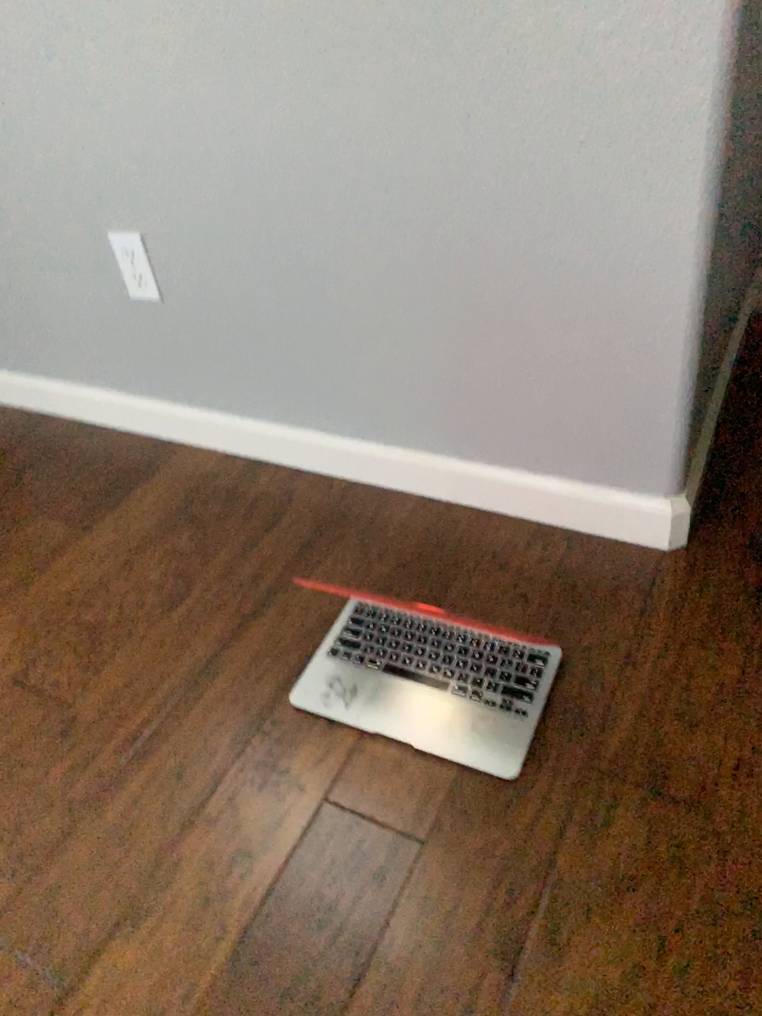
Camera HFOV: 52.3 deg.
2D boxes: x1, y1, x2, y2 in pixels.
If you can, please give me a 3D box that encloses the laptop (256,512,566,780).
[{"bbox_3d":[0.045,0.150,0.927,0.301,0.139,0.199,12,44,25],"label":"laptop"}]
